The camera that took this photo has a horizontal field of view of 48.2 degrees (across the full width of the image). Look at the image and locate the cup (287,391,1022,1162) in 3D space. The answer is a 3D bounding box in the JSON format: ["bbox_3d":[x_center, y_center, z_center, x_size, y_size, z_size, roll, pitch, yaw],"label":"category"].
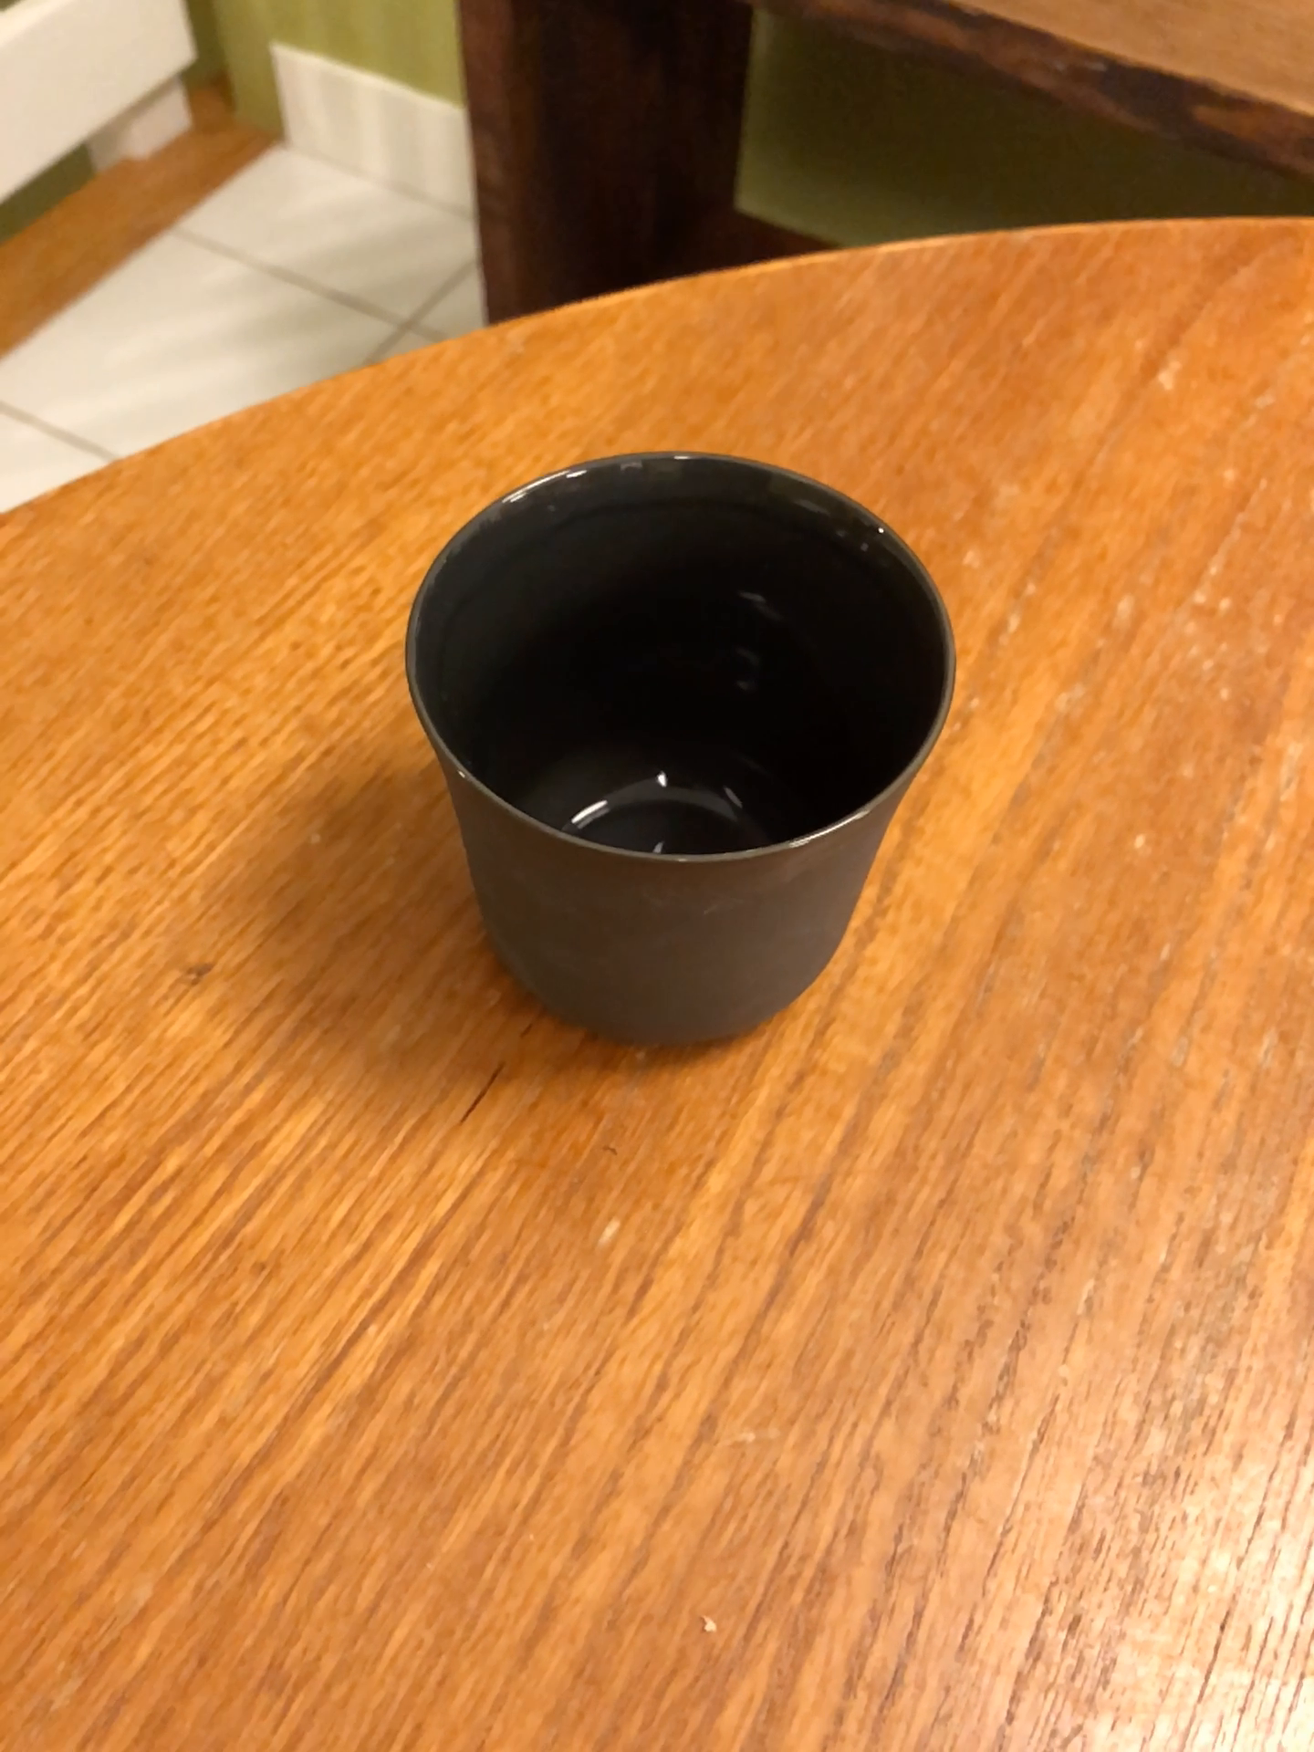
[{"bbox_3d":[0.002,-0.015,0.228,0.079,0.068,0.075,1,57,-2],"label":"cup"}]
